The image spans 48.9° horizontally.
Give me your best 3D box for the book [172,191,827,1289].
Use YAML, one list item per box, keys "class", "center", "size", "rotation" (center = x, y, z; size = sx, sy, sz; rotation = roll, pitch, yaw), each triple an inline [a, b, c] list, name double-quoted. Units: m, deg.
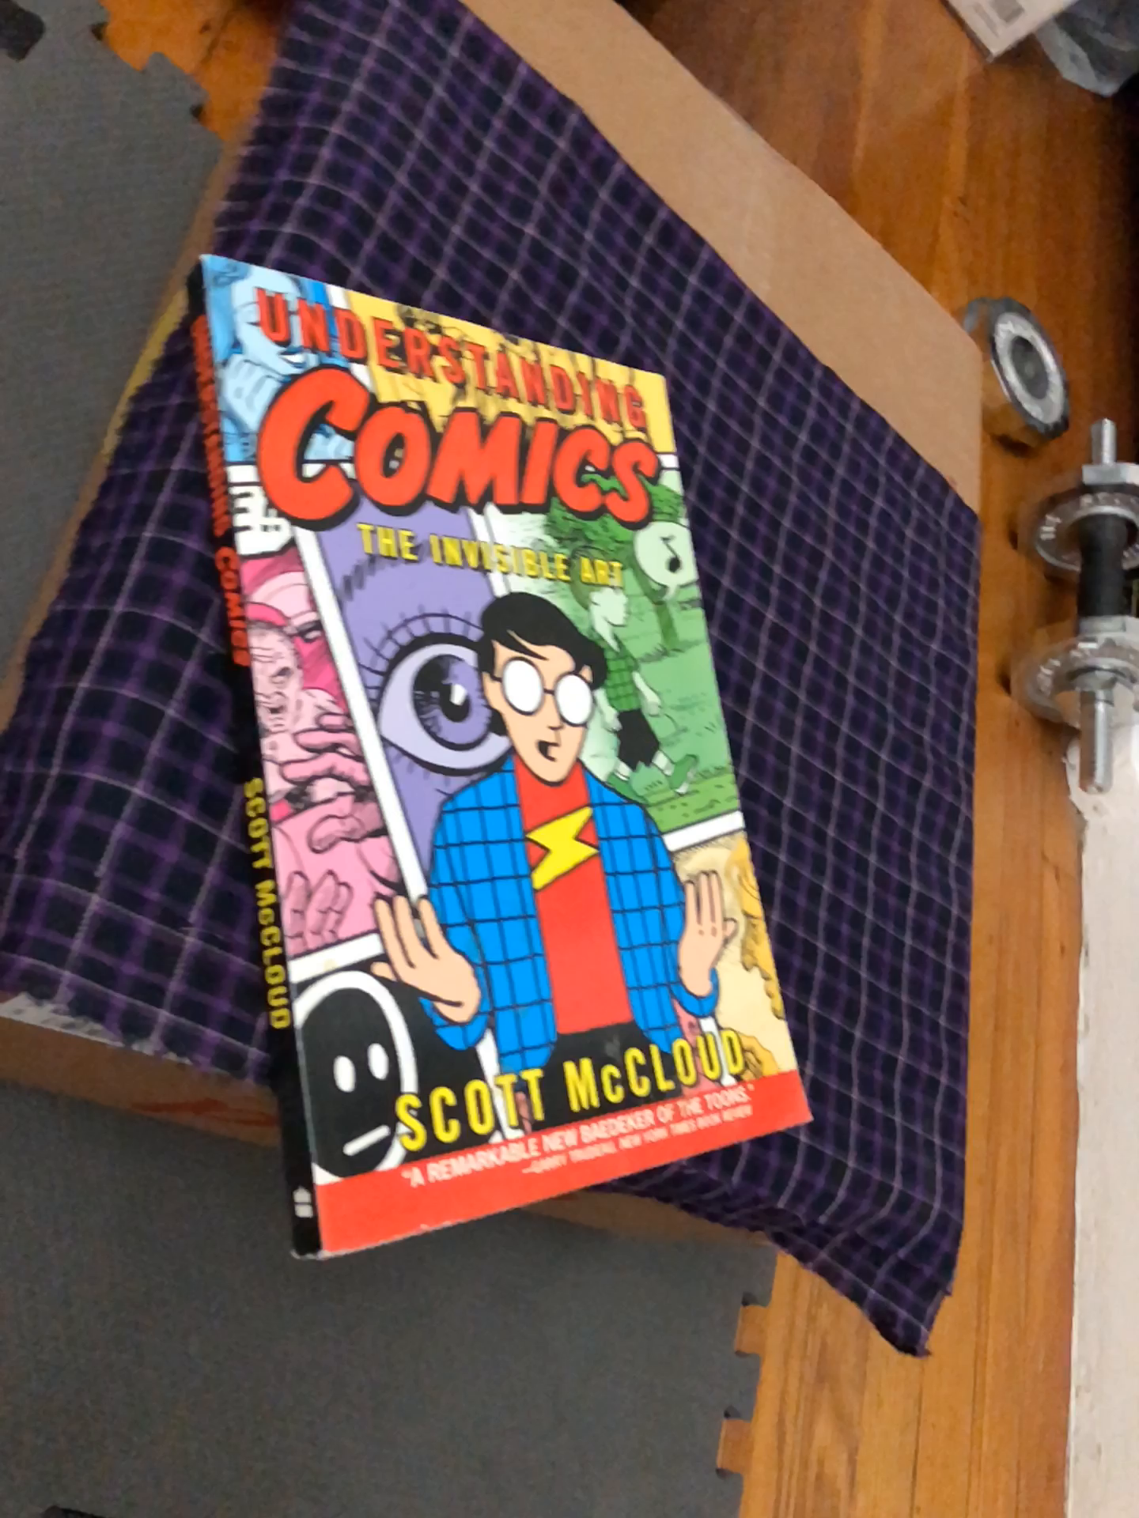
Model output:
- class: "book"
  center: [-0.015, -0.013, 0.360]
  size: [0.171, 0.020, 0.270]
  rotation: [1, 75, -41]
